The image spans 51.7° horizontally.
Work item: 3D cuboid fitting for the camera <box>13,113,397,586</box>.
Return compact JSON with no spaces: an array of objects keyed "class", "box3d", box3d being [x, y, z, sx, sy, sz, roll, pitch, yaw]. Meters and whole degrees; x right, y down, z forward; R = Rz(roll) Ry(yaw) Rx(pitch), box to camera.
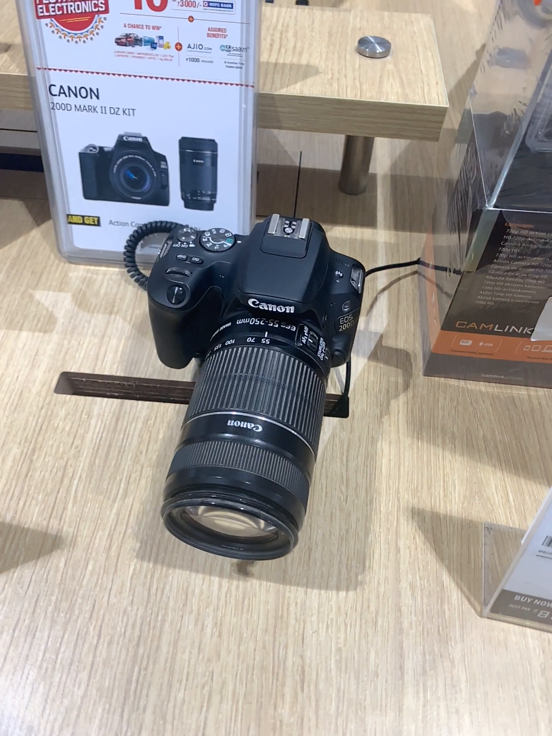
[{"class":"camera","box3d":[-0.013,-0.019,0.281,0.120,0.100,0.200,8,54,4]}]
